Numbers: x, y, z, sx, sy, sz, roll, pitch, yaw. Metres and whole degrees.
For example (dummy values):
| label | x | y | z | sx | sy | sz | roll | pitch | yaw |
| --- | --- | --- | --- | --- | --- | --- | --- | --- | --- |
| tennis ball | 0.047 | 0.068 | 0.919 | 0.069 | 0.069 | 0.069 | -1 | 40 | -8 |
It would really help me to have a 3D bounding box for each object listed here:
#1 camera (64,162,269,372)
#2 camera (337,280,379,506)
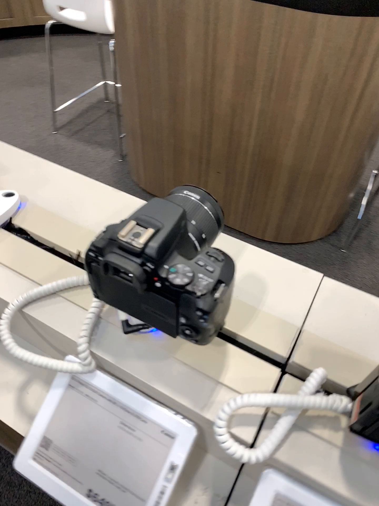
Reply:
| label | x | y | z | sx | sy | sz | roll | pitch | yaw |
| --- | --- | --- | --- | --- | --- | --- | --- | --- | --- |
| camera | -0.013 | 0.006 | 0.355 | 0.122 | 0.089 | 0.135 | 20 | 51 | 16 |
| camera | 0.186 | 0.106 | 0.277 | 0.112 | 0.088 | 0.111 | 20 | 51 | 16 |
